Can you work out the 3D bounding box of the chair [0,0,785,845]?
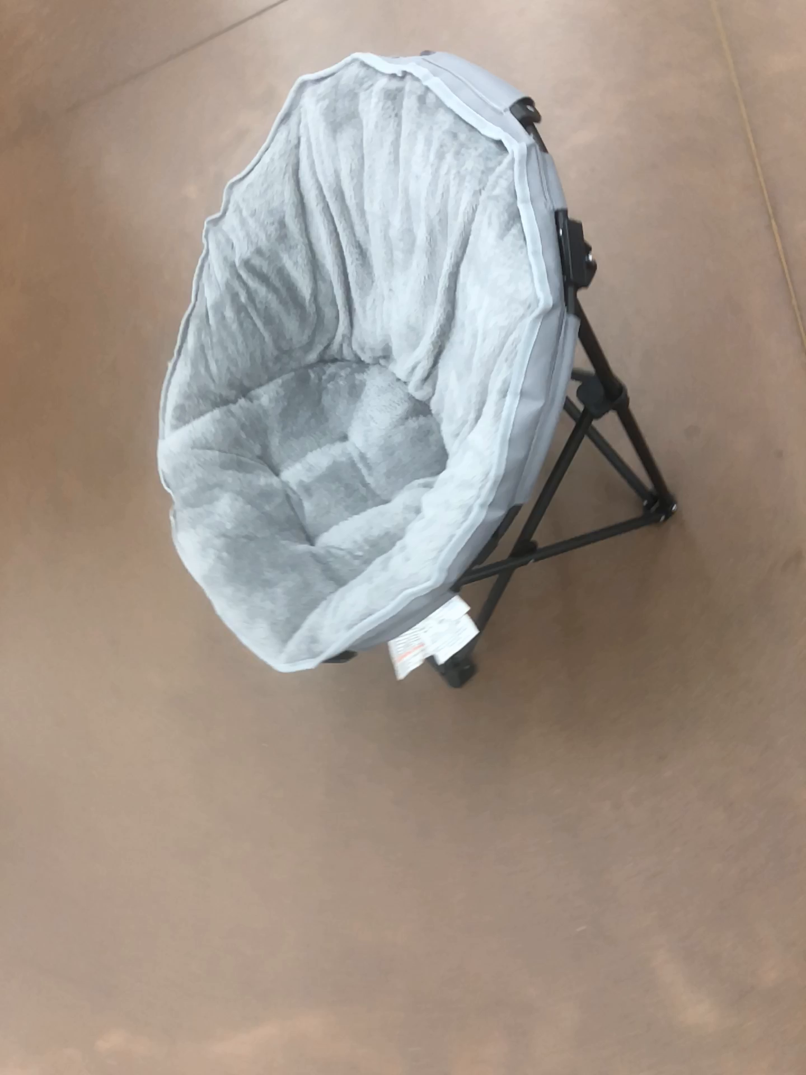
[{"bbox_3d":[-0.045,-0.115,1.016,0.630,0.529,0.571,-44,55,4],"label":"chair"}]
